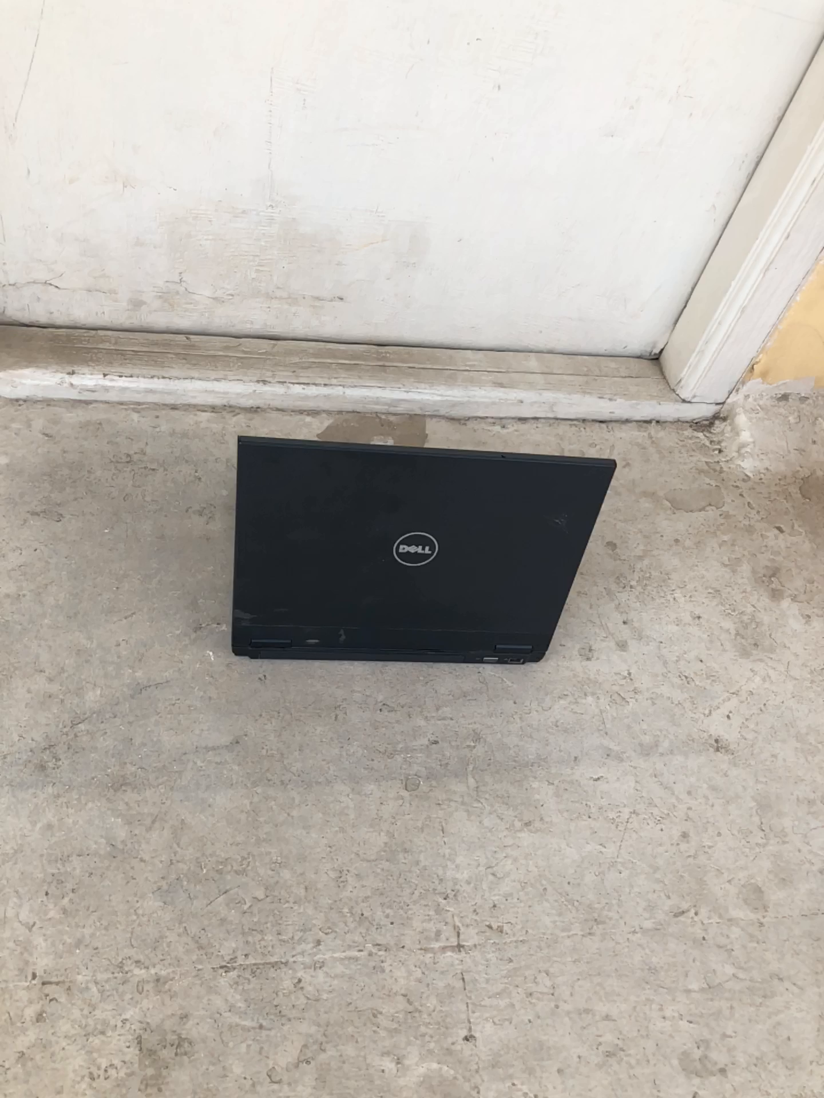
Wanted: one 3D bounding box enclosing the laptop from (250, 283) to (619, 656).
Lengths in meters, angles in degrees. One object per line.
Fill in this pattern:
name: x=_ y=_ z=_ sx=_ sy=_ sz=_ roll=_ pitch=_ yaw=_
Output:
laptop: x=0.000 y=-0.063 z=0.855 sx=0.279 sy=0.252 sz=0.225 roll=3 pitch=55 yaw=-9
